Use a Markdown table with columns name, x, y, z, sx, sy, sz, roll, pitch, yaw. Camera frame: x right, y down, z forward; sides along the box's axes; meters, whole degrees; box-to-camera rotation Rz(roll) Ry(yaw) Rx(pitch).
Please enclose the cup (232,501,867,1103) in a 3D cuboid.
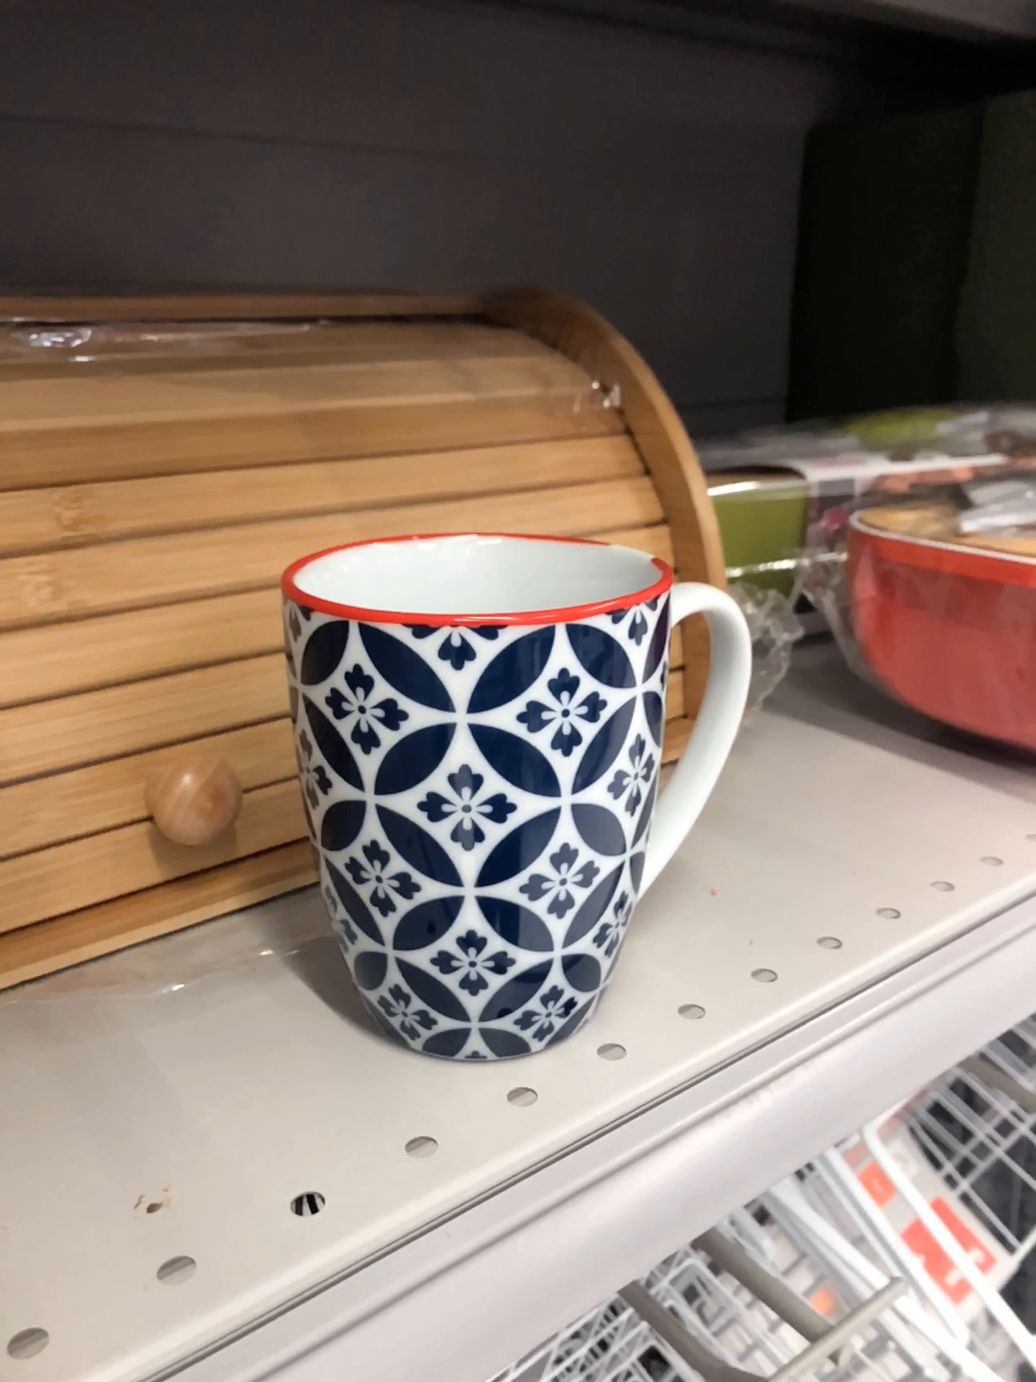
| name | x | y | z | sx | sy | sz | roll | pitch | yaw |
| --- | --- | --- | --- | --- | --- | --- | --- | --- | --- |
| cup | 0.007 | 0.013 | 0.264 | 0.113 | 0.090 | 0.080 | -14 | 23 | -35 |
